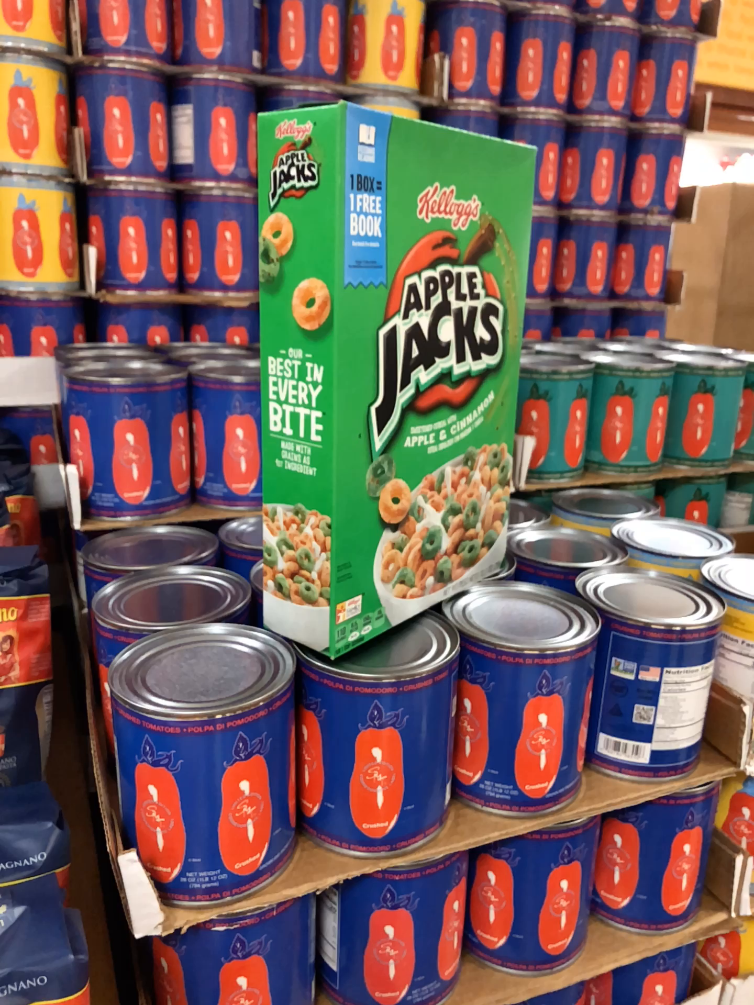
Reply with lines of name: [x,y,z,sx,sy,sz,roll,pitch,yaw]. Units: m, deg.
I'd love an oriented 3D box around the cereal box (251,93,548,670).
cereal box: [0.017,-0.073,0.511,0.060,0.289,0.201,14,20,36]
